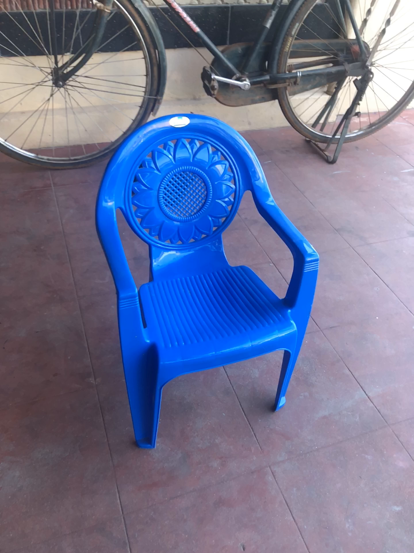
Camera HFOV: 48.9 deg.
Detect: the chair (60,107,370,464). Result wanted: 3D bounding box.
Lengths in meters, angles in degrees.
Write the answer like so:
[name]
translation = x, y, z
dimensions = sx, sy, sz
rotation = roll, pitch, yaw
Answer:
[chair]
translation = -0.035, 0.000, 0.935
dimensions = 0.401, 0.497, 0.452
rotation = -10, 44, -16
